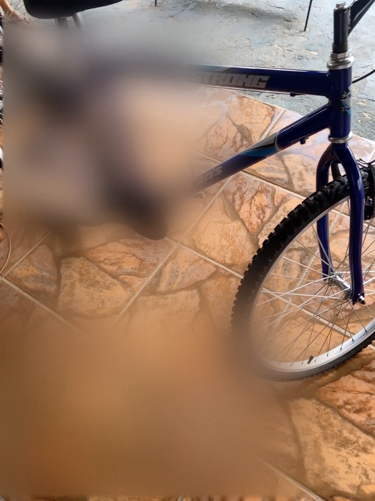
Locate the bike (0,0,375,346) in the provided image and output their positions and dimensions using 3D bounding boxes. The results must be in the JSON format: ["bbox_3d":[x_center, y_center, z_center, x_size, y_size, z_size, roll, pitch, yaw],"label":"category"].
[{"bbox_3d":[-0.007,-0.396,1.112,1.525,1.015,0.574,17,60,13],"label":"bike"}]
